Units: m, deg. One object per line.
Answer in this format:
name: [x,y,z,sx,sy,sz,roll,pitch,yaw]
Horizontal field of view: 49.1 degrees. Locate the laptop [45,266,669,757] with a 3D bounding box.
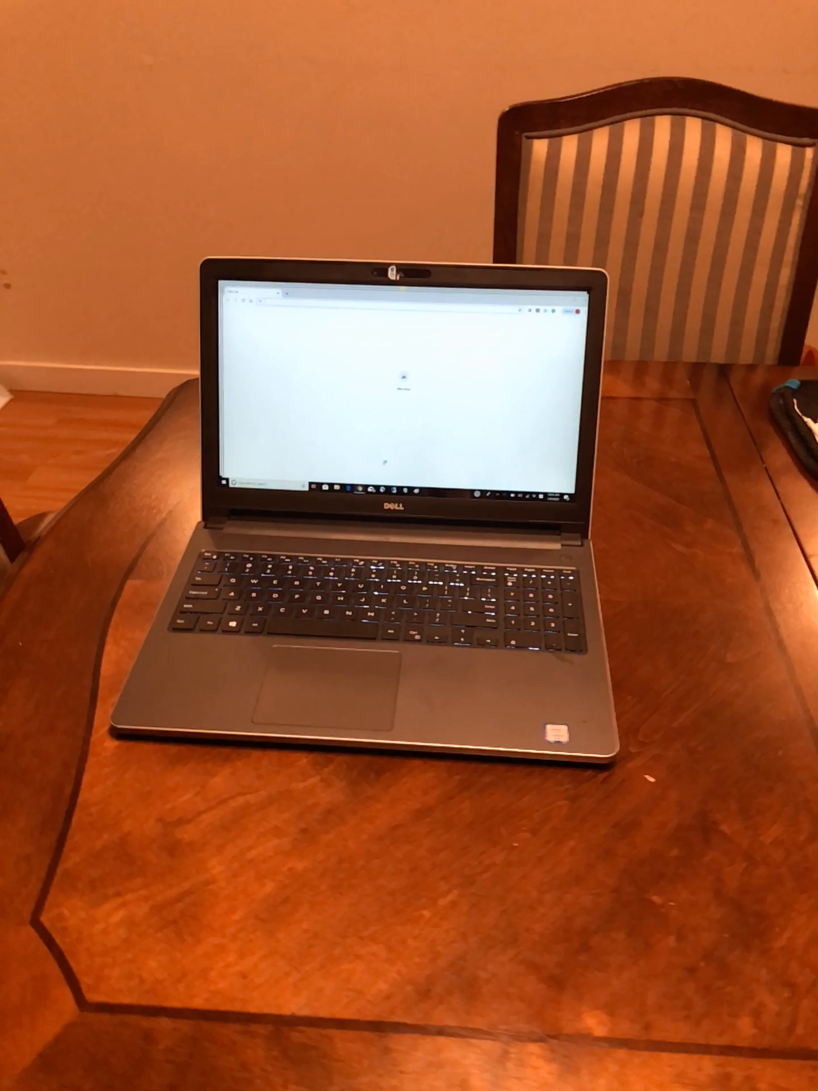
laptop: [-0.018,-0.053,0.733,0.369,0.212,0.362,3,38,5]
